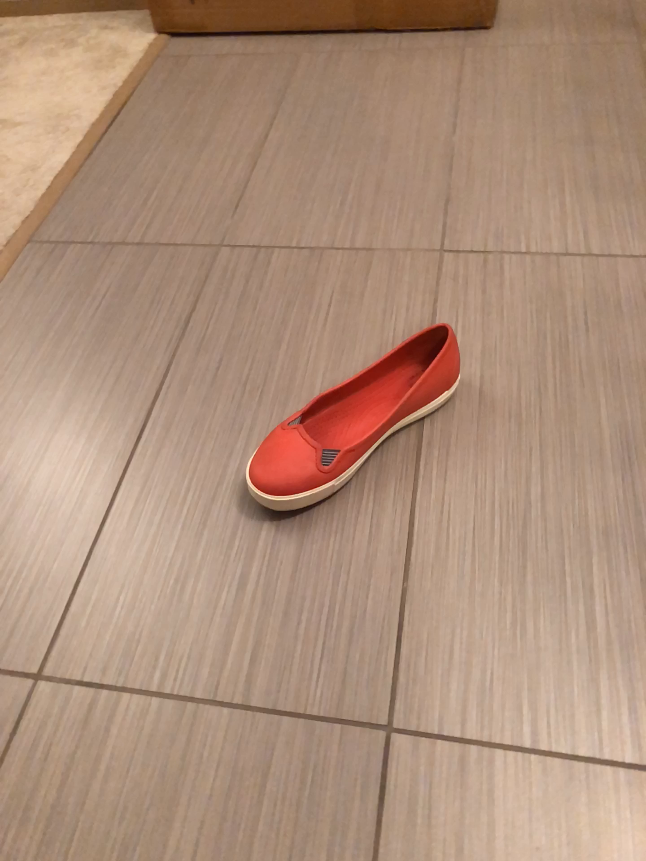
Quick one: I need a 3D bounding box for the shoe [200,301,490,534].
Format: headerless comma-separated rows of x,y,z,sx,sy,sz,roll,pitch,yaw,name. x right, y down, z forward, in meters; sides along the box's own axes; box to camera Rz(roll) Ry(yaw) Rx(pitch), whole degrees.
0.027,-0.020,0.705,0.271,0.070,0.100,-30,53,-18,shoe
